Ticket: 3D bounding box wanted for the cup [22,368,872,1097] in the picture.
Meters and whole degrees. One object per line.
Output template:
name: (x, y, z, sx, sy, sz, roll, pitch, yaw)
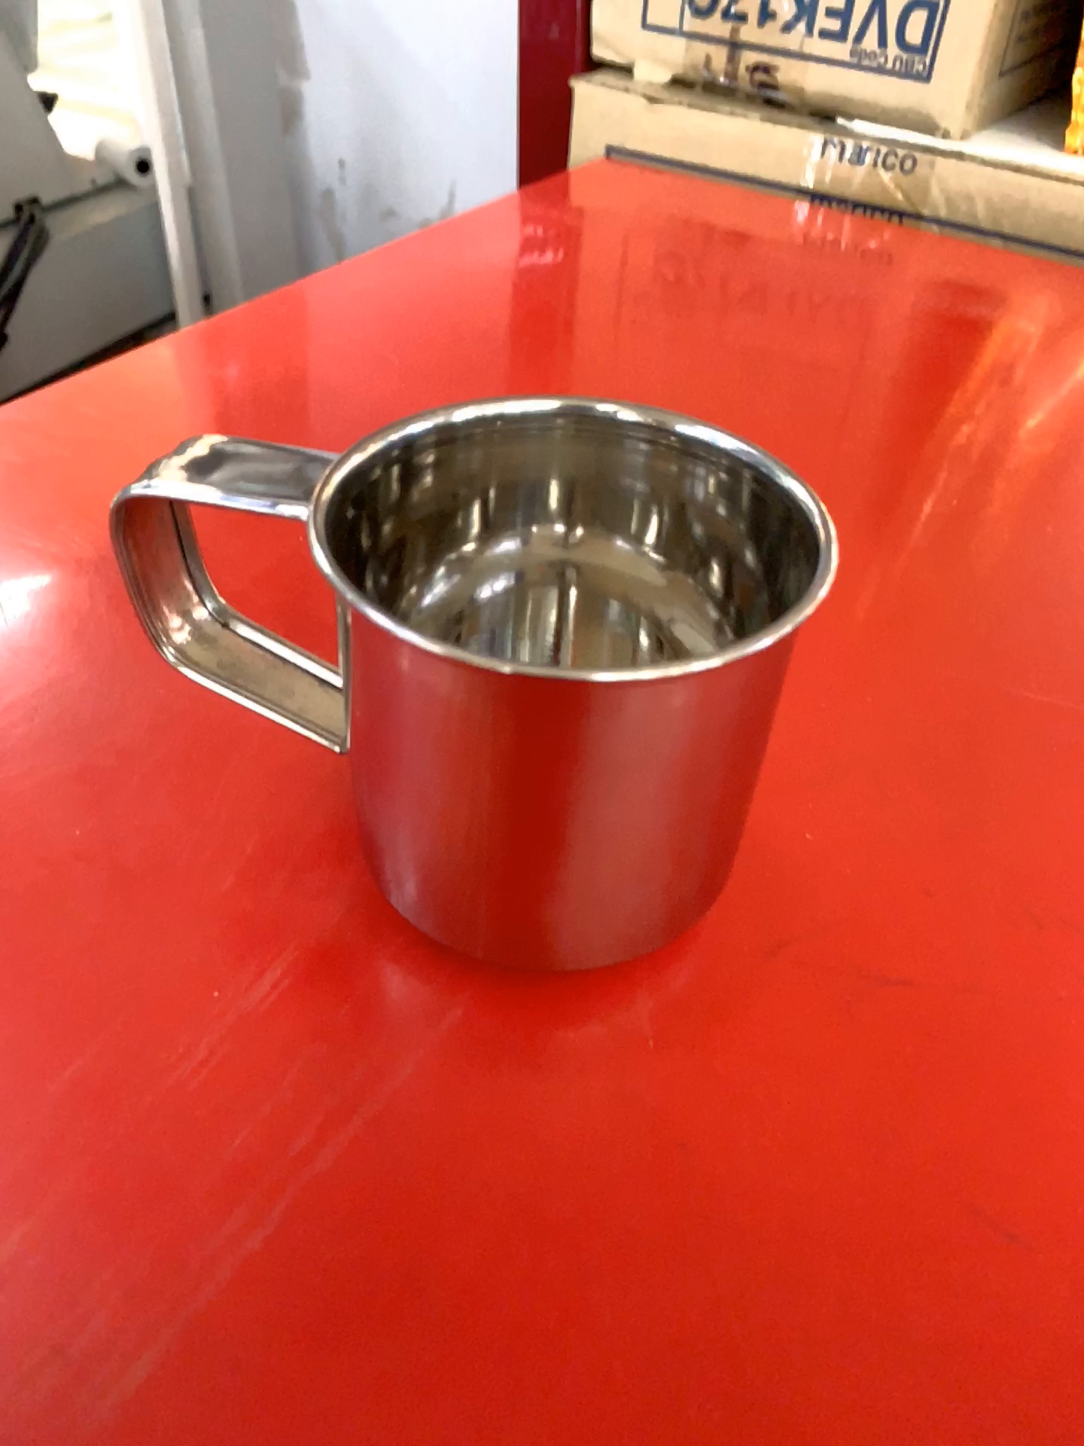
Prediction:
cup: (-0.010, -0.004, 0.199, 0.110, 0.069, 0.081, 14, 42, 13)
